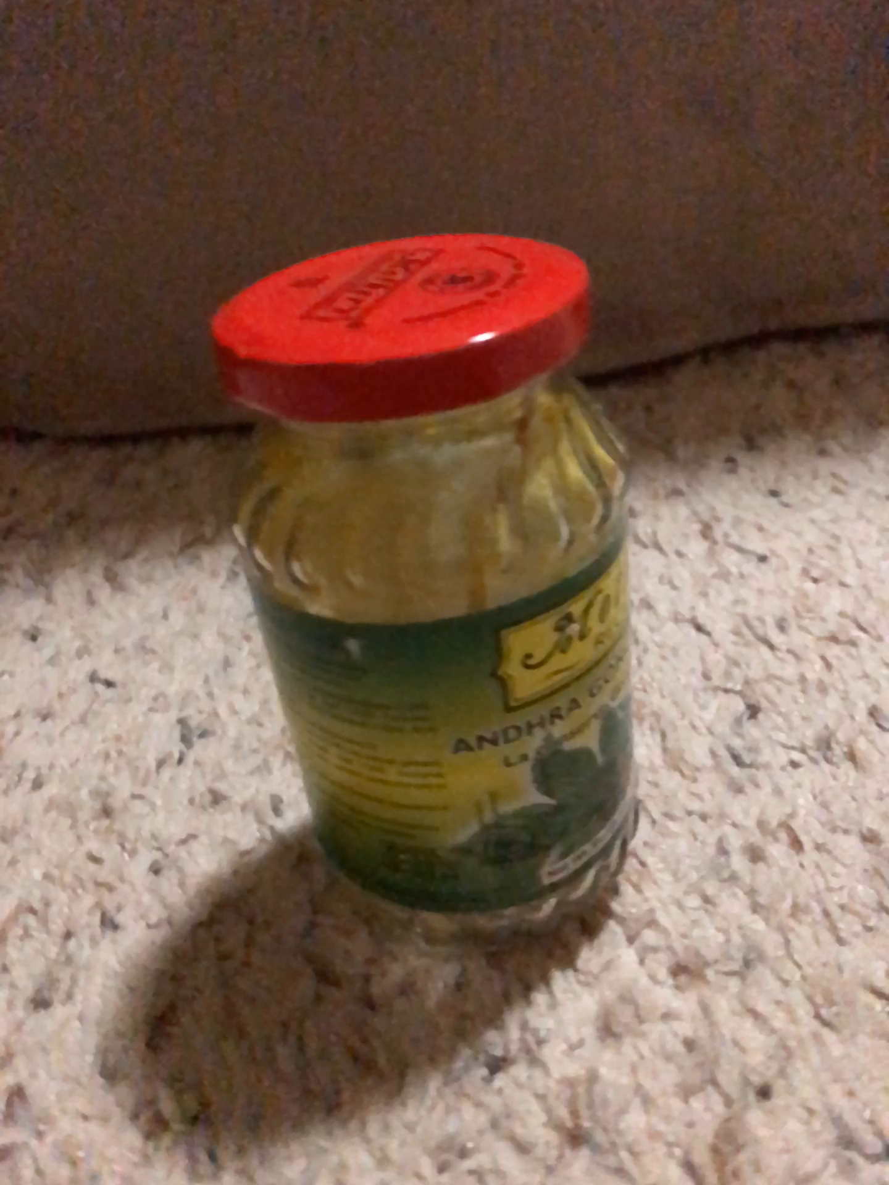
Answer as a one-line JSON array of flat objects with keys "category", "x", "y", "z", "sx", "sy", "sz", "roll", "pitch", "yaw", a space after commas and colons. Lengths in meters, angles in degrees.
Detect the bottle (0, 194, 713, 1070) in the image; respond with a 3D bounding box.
[{"category": "bottle", "x": -0.003, "y": 0.002, "z": 0.161, "sx": 0.070, "sy": 0.110, "sz": 0.070, "roll": -5, "pitch": 33, "yaw": 3}]
